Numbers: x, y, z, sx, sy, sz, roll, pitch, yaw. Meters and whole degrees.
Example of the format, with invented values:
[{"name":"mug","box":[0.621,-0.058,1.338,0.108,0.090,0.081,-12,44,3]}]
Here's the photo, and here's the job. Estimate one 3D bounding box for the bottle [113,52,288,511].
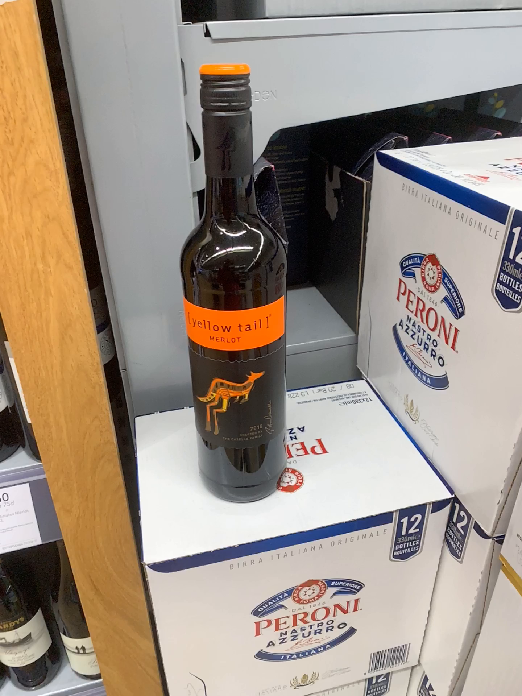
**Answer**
[{"name":"bottle","box":[-0.025,-0.029,0.364,0.078,0.297,0.077,-1,29,1]}]
